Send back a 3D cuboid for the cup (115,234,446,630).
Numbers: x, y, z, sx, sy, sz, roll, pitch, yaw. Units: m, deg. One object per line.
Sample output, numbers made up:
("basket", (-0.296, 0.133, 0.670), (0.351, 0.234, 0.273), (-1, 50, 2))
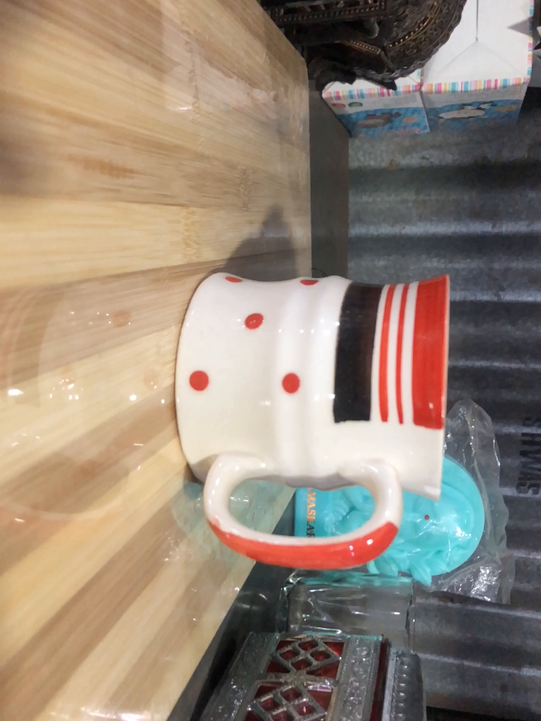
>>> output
("cup", (0.018, 0.028, 0.231), (0.100, 0.090, 0.110), (2, 90, -76))
